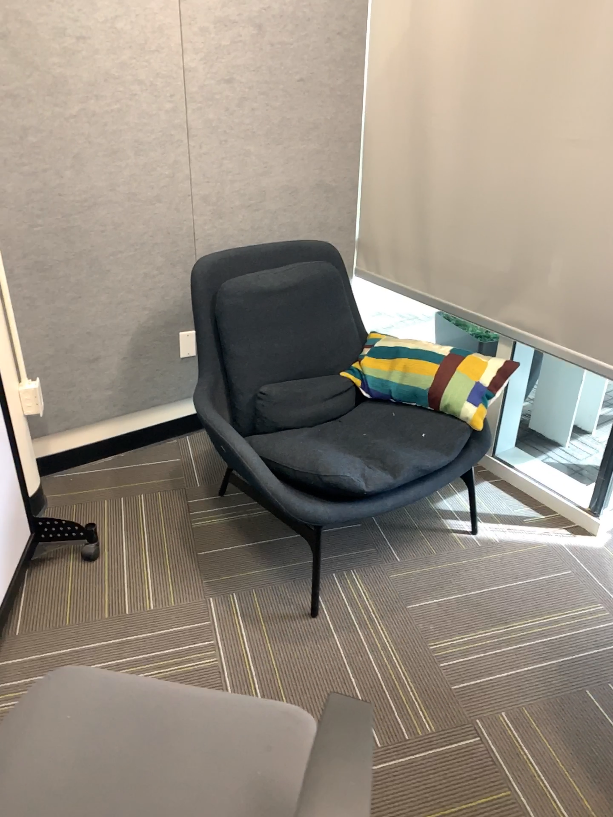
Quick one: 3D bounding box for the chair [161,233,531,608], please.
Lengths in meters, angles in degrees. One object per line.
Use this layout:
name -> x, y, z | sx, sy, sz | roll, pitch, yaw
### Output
chair -> 0.056, -0.068, 2.208 | 0.790, 0.815, 1.005 | -13, 31, -25
